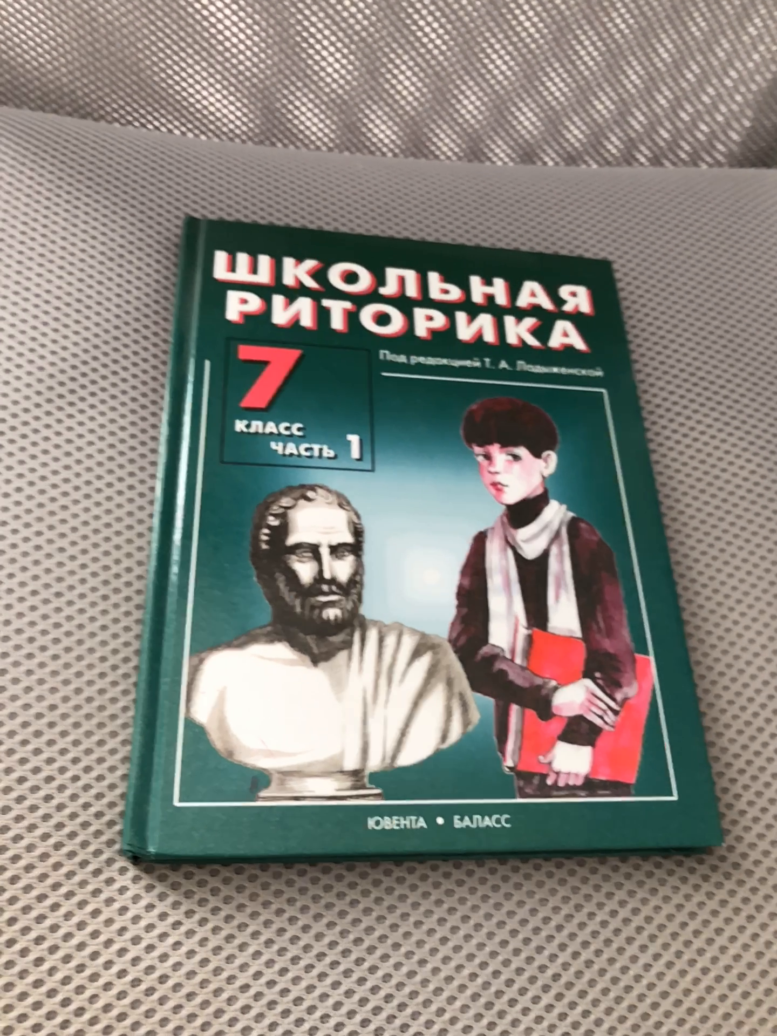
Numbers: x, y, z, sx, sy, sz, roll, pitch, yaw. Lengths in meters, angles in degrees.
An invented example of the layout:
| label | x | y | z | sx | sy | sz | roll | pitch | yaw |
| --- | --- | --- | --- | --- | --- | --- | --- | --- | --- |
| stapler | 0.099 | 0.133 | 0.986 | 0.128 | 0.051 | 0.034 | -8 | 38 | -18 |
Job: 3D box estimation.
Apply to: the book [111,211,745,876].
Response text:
| label | x | y | z | sx | sy | sz | roll | pitch | yaw |
| --- | --- | --- | --- | --- | --- | --- | --- | --- | --- |
| book | 0.009 | -0.001 | 0.281 | 0.167 | 0.030 | 0.211 | 3 | 63 | -11 |
